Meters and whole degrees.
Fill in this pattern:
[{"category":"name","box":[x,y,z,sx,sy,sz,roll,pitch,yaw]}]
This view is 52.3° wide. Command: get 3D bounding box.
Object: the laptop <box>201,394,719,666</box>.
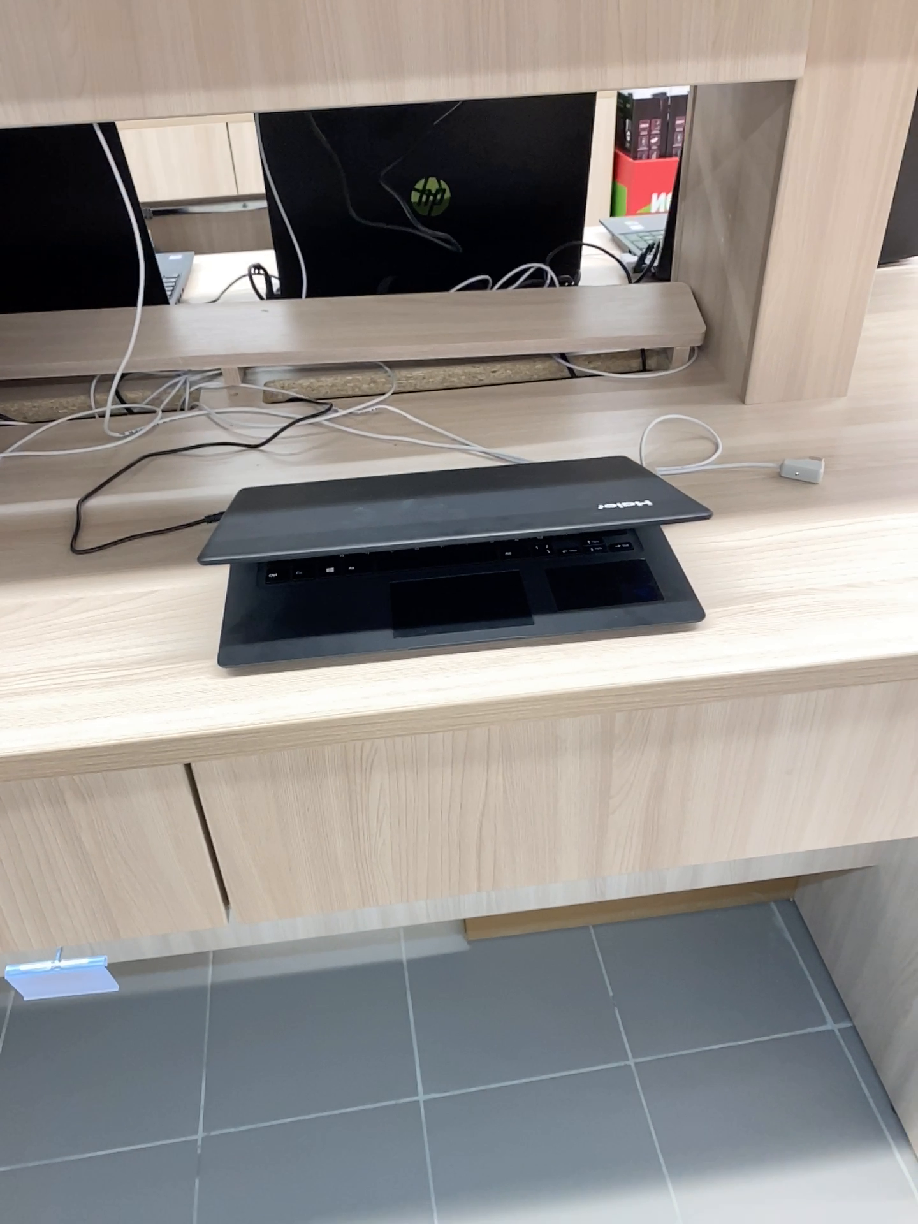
[{"category":"laptop","box":[-0.005,-0.070,0.673,0.319,0.071,0.202,-5,37,-4]}]
